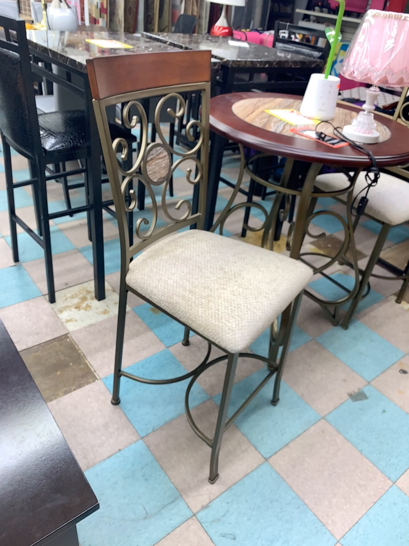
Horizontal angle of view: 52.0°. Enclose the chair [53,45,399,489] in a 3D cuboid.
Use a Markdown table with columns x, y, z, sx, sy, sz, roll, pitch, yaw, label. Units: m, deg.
| x | y | z | sx | sy | sz | roll | pitch | yaw | label |
| --- | --- | --- | --- | --- | --- | --- | --- | --- | --- |
| 0.012 | -0.024 | 1.249 | 0.609 | 1.052 | 0.512 | 27 | 39 | 26 | chair |
